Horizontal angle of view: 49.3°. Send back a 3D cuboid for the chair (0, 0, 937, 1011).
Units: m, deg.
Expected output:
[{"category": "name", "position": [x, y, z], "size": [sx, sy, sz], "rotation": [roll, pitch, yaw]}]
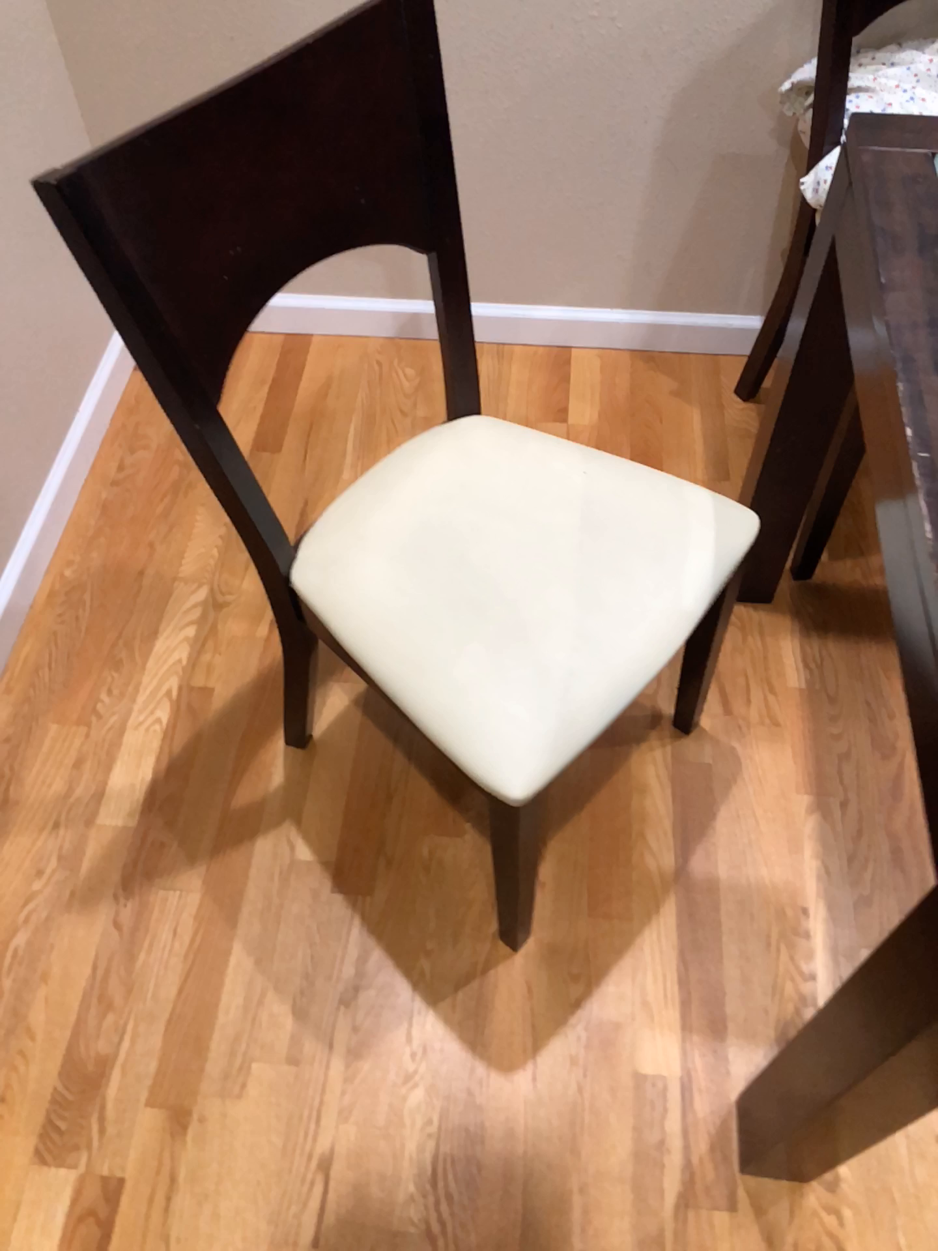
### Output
[{"category": "chair", "position": [-0.017, -0.095, 1.106], "size": [0.531, 0.906, 0.521], "rotation": [35, 62, 24]}]
